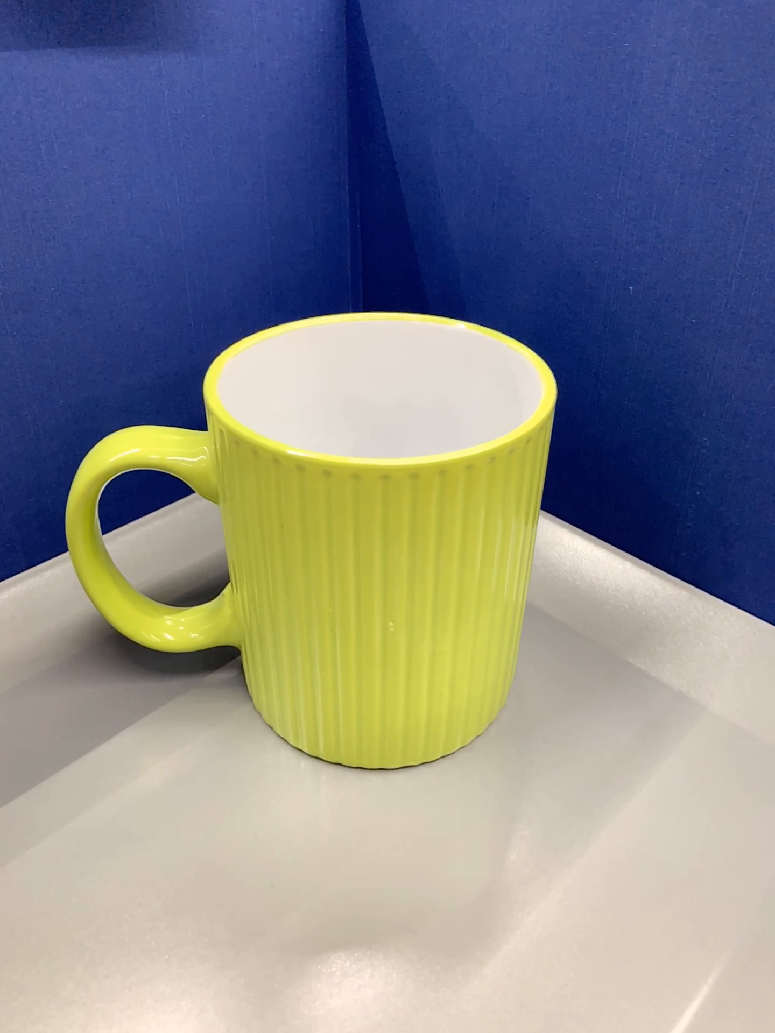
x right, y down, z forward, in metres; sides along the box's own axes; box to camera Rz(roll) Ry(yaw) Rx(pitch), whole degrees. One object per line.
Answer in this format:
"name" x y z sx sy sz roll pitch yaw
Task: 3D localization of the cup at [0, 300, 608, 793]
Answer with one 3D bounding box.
"cup" -0.023 0.003 0.225 0.129 0.098 0.091 -2 33 -4
